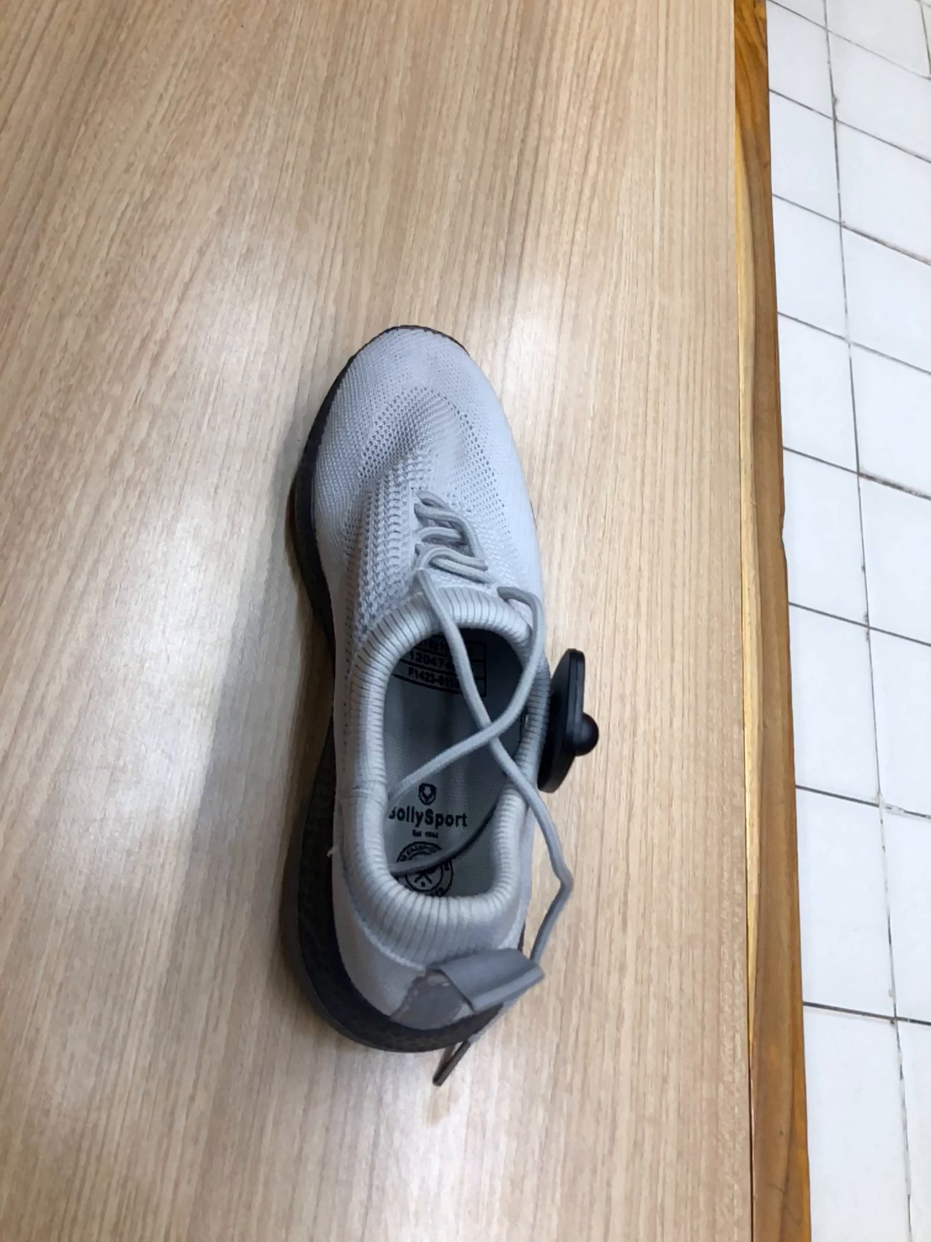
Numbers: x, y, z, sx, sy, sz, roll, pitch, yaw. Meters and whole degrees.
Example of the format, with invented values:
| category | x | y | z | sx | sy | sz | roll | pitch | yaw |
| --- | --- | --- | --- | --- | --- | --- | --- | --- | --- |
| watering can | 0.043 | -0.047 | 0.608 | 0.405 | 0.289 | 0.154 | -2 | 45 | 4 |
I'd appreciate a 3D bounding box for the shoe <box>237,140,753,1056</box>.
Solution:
| category | x | y | z | sx | sy | sz | roll | pitch | yaw |
| --- | --- | --- | --- | --- | --- | --- | --- | --- | --- |
| shoe | 0.002 | -0.001 | 0.342 | 0.106 | 0.122 | 0.265 | 10 | 64 | -19 |
